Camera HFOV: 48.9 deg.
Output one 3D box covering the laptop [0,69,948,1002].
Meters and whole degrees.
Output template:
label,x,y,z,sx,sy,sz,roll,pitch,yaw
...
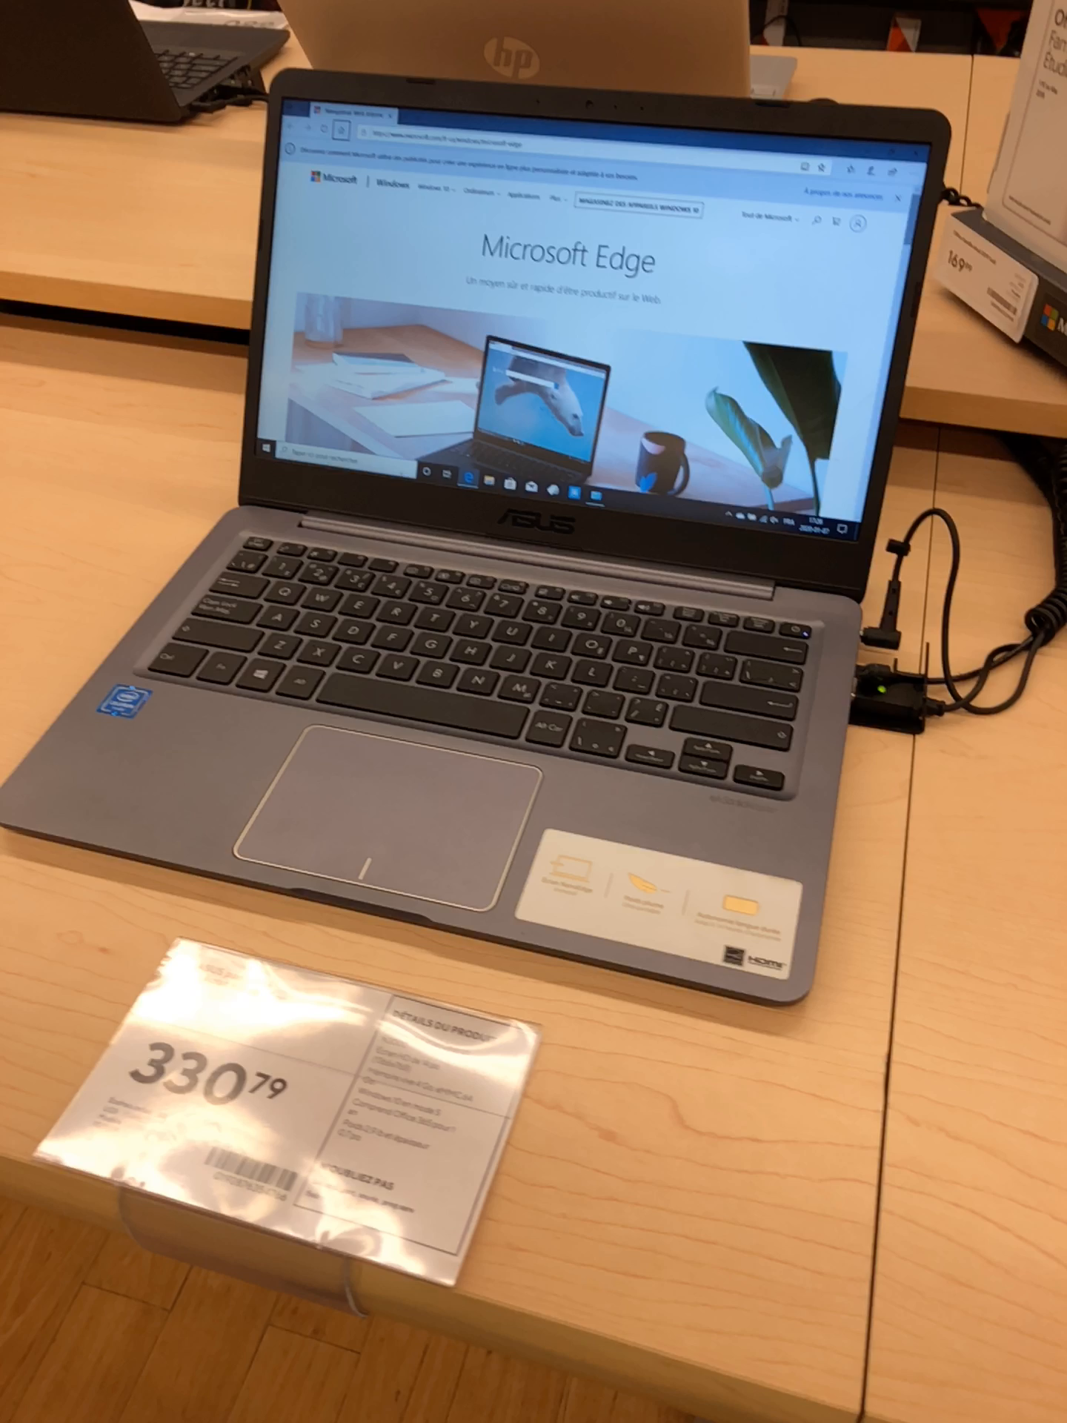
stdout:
label,x,y,z,sx,sy,sz,roll,pitch,yaw
laptop,-0.017,-0.105,0.481,0.309,0.172,0.328,11,47,13
